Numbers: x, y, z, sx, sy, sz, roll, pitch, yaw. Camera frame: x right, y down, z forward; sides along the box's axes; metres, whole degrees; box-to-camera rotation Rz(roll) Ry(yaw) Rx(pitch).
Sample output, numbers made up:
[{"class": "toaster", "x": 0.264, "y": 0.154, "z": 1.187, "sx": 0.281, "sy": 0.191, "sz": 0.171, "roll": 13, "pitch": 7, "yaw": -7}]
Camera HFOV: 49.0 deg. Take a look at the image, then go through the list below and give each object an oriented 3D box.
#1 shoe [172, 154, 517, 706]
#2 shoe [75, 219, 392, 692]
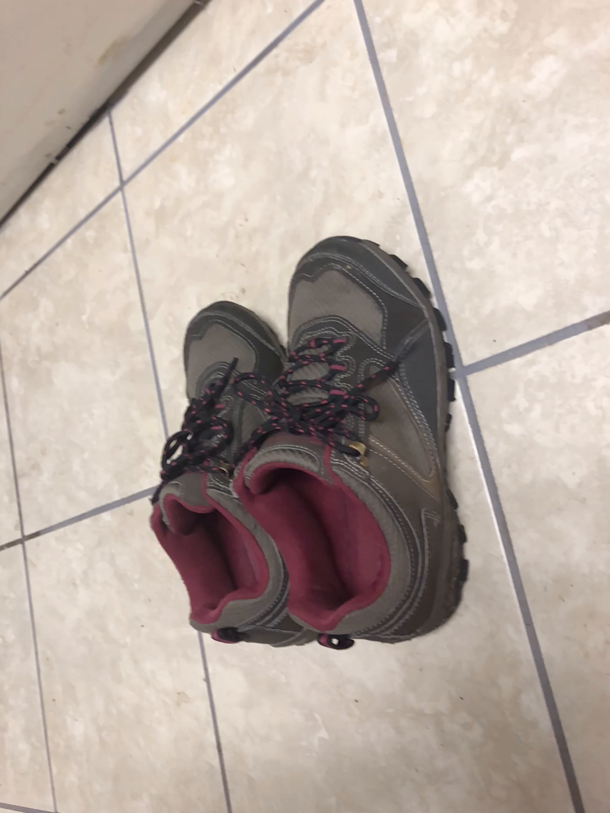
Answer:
[{"class": "shoe", "x": 0.020, "y": 0.015, "z": 0.390, "sx": 0.111, "sy": 0.119, "sz": 0.260, "roll": -17, "pitch": 78, "yaw": 41}, {"class": "shoe", "x": -0.054, "y": 0.035, "z": 0.456, "sx": 0.121, "sy": 0.119, "sz": 0.270, "roll": -22, "pitch": 75, "yaw": 40}]
